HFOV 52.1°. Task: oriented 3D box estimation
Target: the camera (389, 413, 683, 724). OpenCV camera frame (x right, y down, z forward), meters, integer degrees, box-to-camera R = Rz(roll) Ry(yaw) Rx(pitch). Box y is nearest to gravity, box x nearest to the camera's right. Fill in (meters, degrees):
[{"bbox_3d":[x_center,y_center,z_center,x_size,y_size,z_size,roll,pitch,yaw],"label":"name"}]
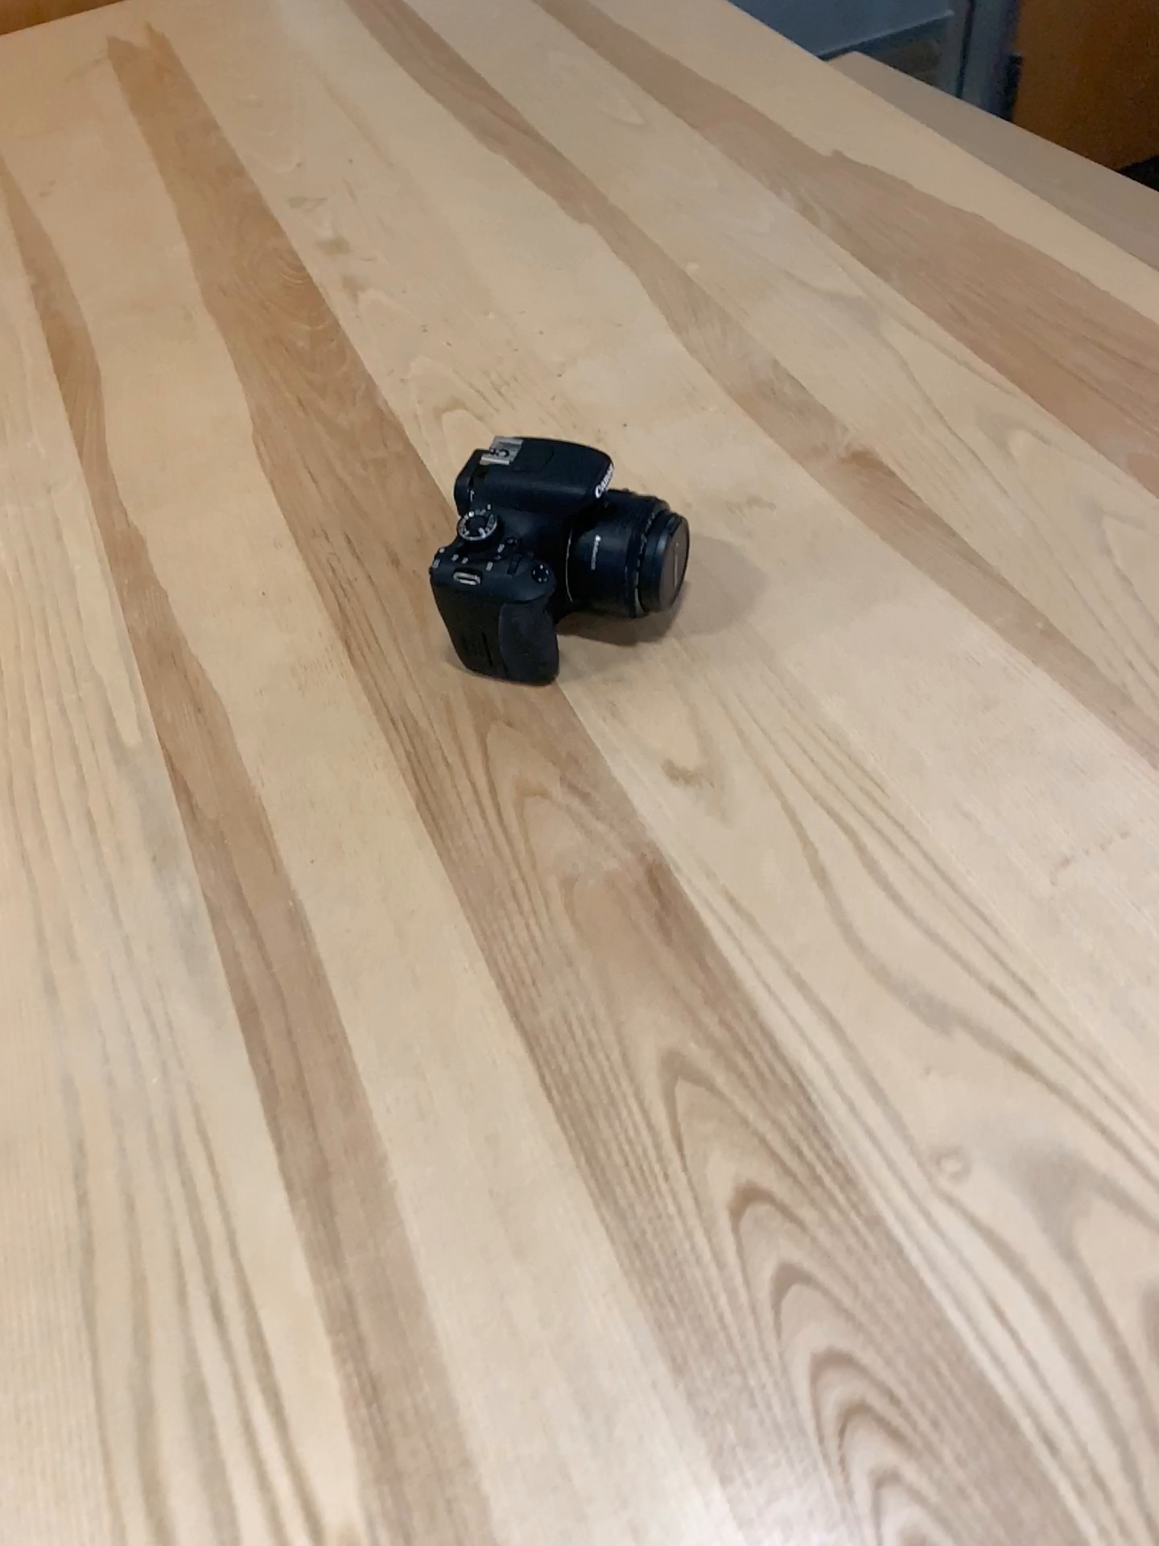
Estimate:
[{"bbox_3d":[-0.017,-0.113,0.644,0.112,0.094,0.120,13,55,17],"label":"camera"}]
